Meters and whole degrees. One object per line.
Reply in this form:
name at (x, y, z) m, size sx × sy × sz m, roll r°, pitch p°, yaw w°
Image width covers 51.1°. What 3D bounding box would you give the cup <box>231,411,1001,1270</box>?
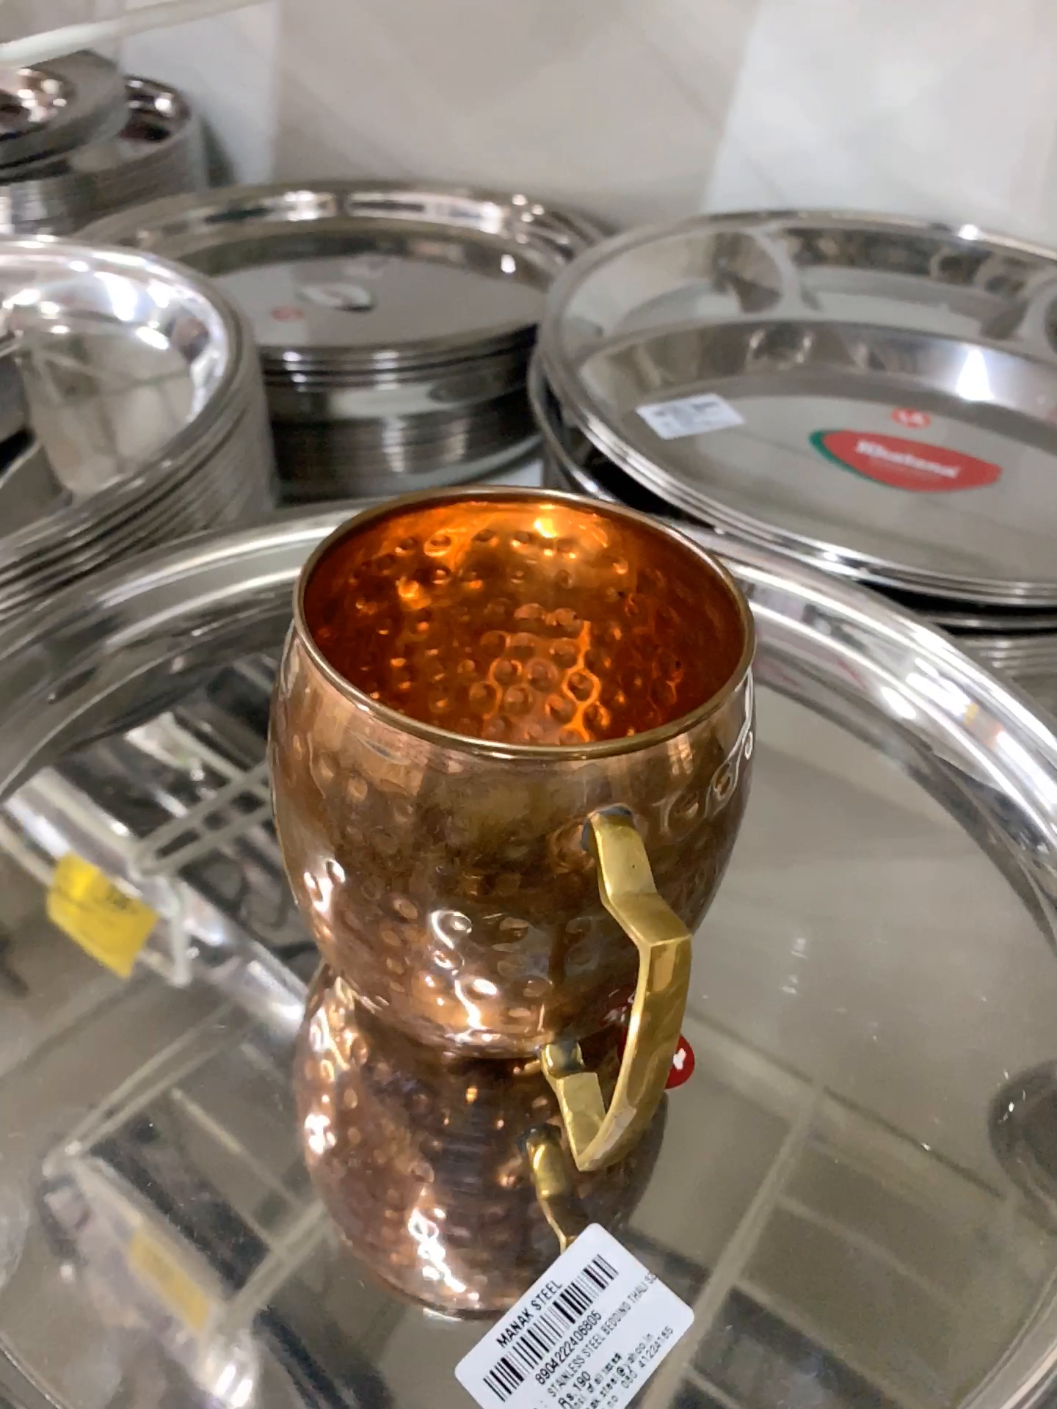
cup at (0.002, 0.017, 0.203) m, size 0.090 × 0.090 × 0.110 m, roll -9°, pitch 42°, yaw -12°
